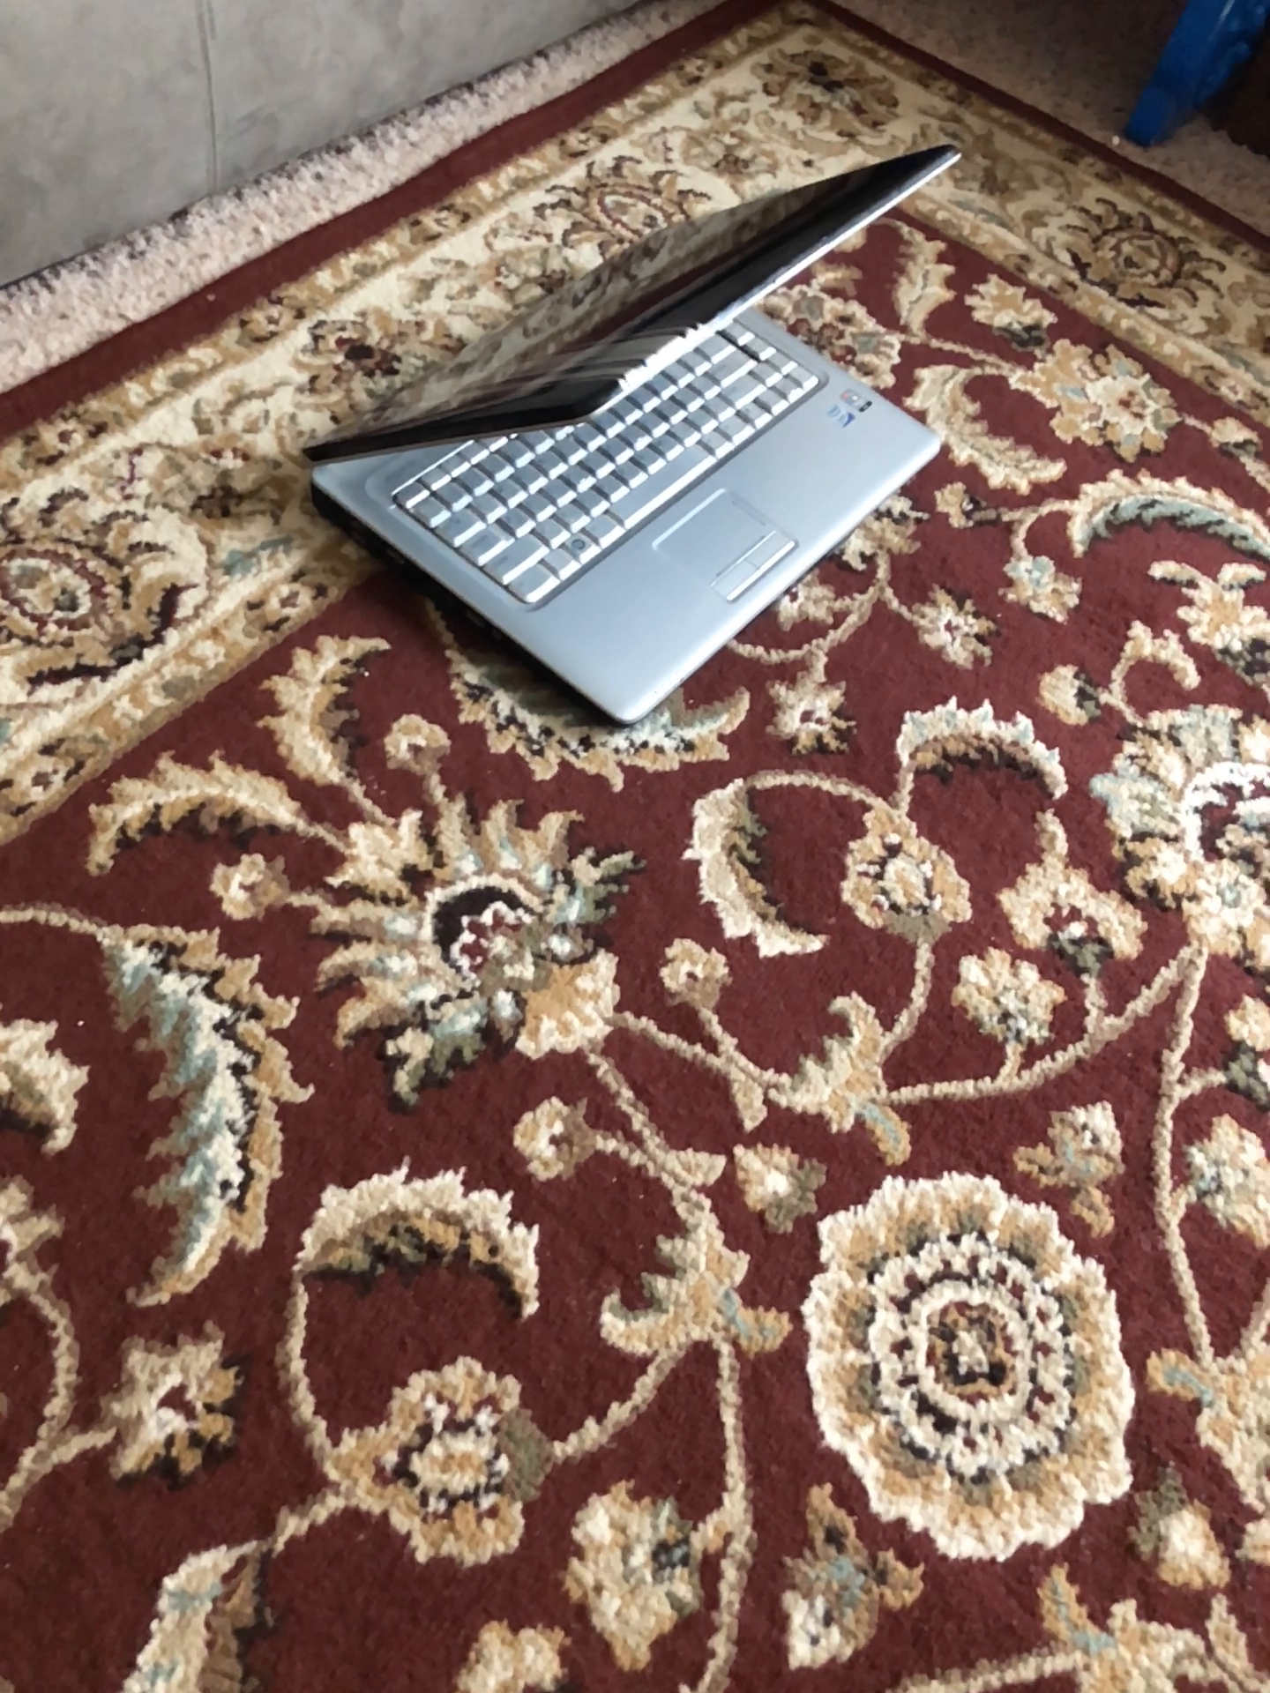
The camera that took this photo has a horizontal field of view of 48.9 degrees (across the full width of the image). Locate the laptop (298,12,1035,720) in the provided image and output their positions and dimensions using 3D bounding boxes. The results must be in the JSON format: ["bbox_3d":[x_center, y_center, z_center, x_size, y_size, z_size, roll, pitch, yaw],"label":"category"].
[{"bbox_3d":[0.020,-0.289,0.803,0.244,0.164,0.342,37,57,12],"label":"laptop"}]
